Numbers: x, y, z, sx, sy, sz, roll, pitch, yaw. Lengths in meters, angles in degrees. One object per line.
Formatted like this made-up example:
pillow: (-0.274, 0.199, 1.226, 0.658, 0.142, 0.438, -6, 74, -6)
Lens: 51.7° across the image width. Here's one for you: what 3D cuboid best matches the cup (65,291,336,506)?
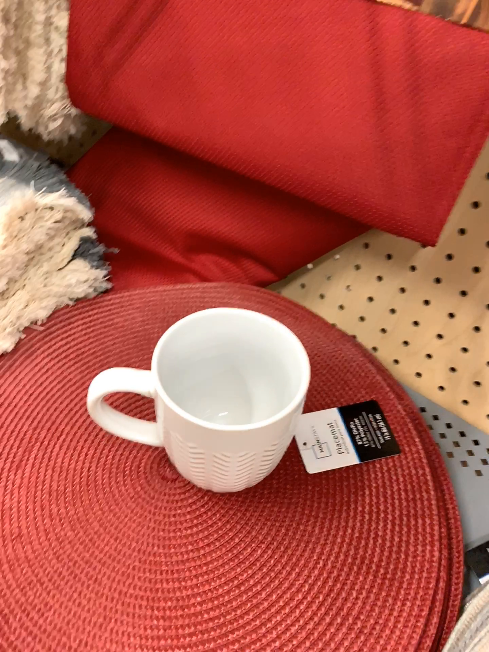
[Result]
cup: (-0.029, 0.042, 0.327, 0.140, 0.090, 0.100, 0, 35, -8)
